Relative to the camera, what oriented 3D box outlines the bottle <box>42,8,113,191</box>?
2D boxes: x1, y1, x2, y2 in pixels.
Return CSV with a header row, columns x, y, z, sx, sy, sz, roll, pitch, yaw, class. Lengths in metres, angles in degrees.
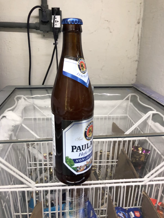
x,y,z,sx,sy,sz,roll,pitch,yaw,class
-0.005,-0.008,0.269,0.060,0.238,0.070,14,24,32,bottle
